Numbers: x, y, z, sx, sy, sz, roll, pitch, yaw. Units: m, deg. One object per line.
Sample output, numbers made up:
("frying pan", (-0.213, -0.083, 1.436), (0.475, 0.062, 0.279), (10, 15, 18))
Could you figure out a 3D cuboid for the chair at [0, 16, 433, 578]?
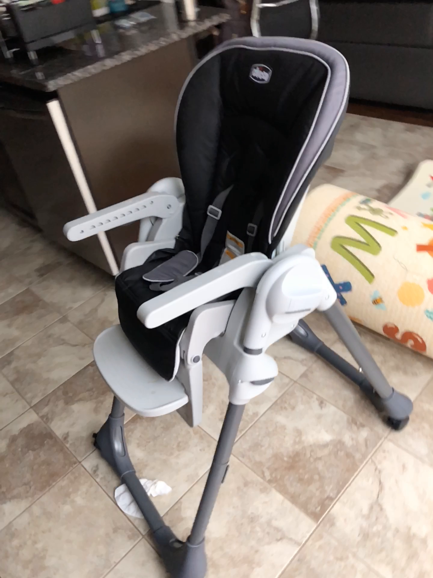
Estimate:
("chair", (0.008, 0.035, 1.154), (0.880, 0.996, 0.652), (-29, 42, -21))
